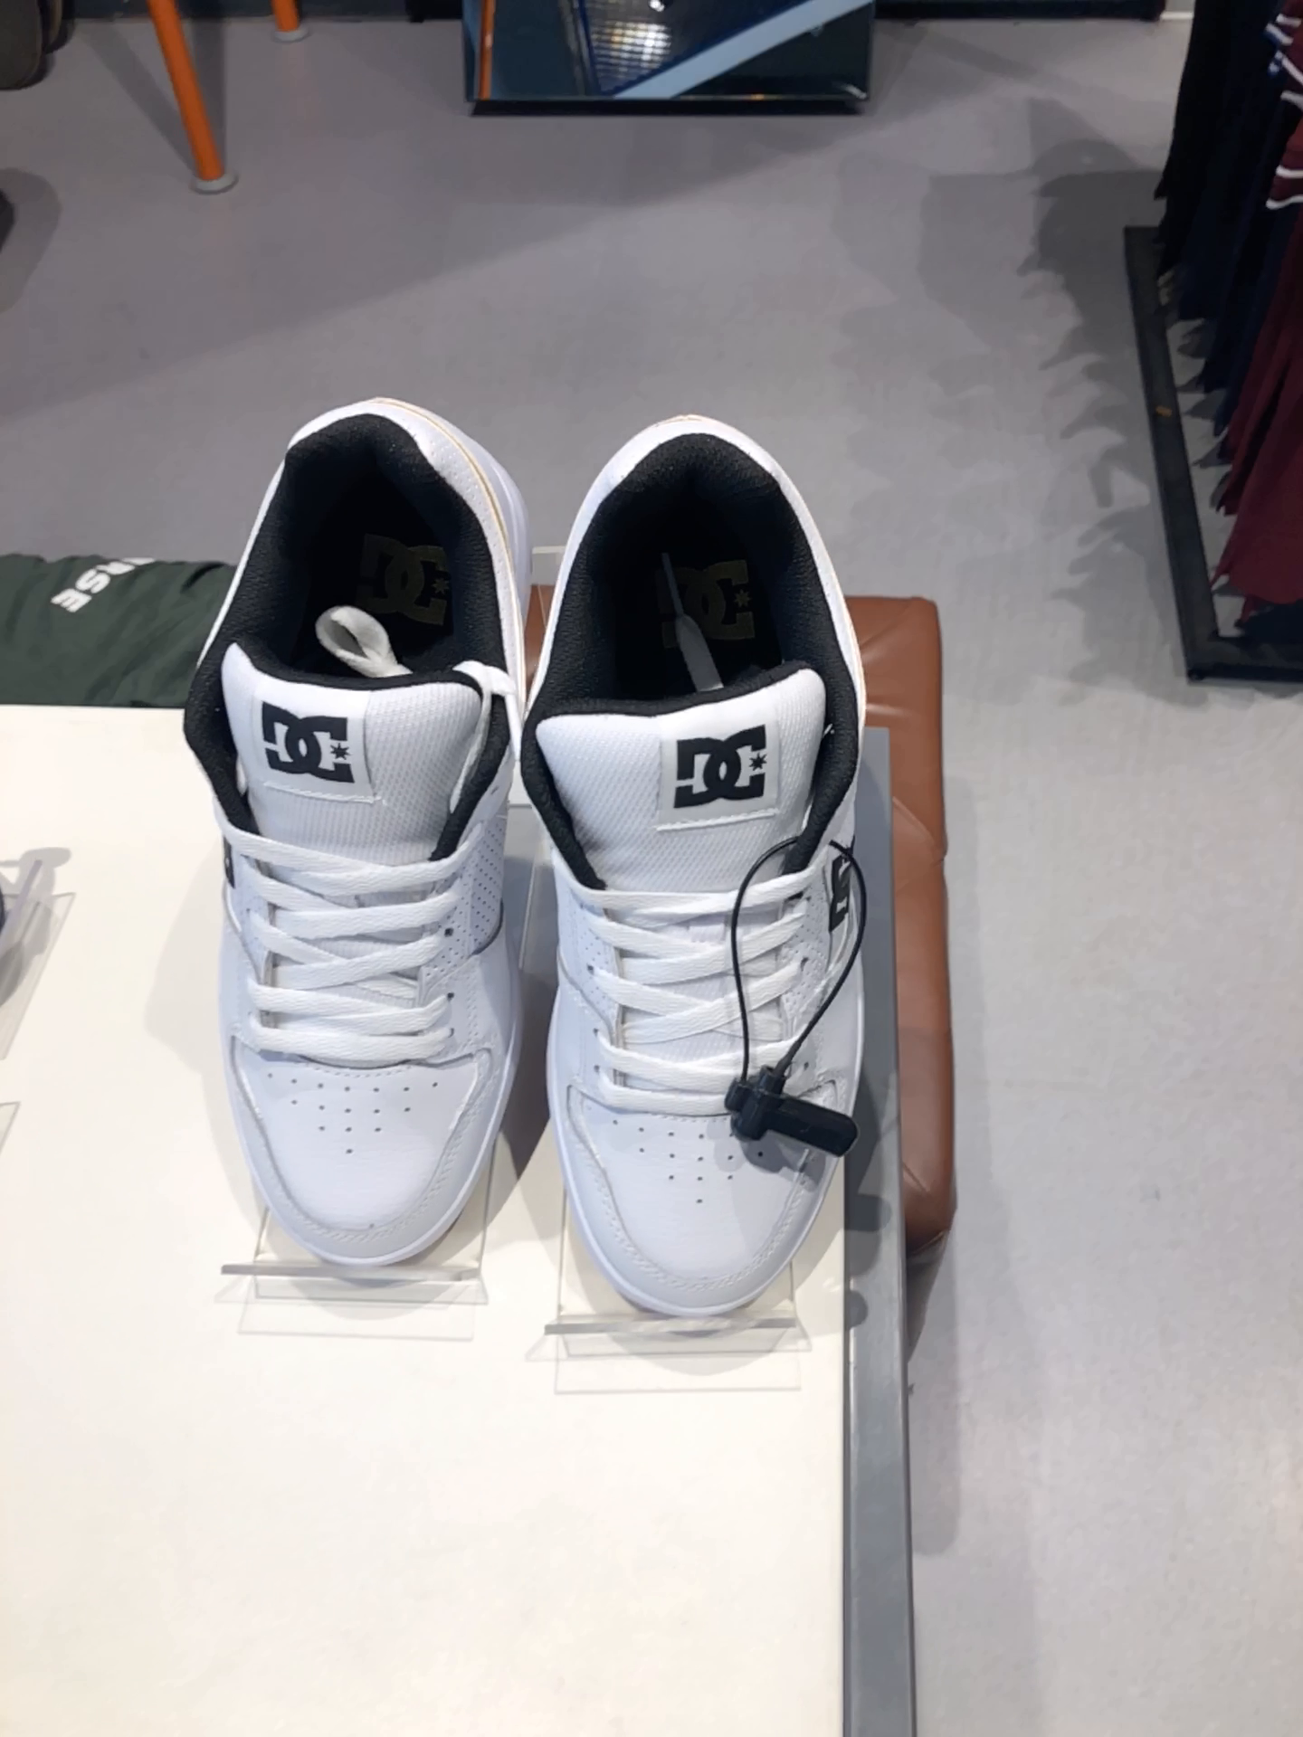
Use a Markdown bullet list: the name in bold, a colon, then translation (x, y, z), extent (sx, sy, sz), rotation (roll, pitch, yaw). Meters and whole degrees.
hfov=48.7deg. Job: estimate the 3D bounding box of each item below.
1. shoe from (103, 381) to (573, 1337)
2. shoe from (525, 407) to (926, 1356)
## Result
- **shoe**: translation (-0.087, -0.006, 0.438), extent (0.103, 0.259, 0.102), rotation (4, 14, 5)
- **shoe**: translation (0.017, 0.001, 0.419), extent (0.095, 0.249, 0.102), rotation (1, 13, 1)
